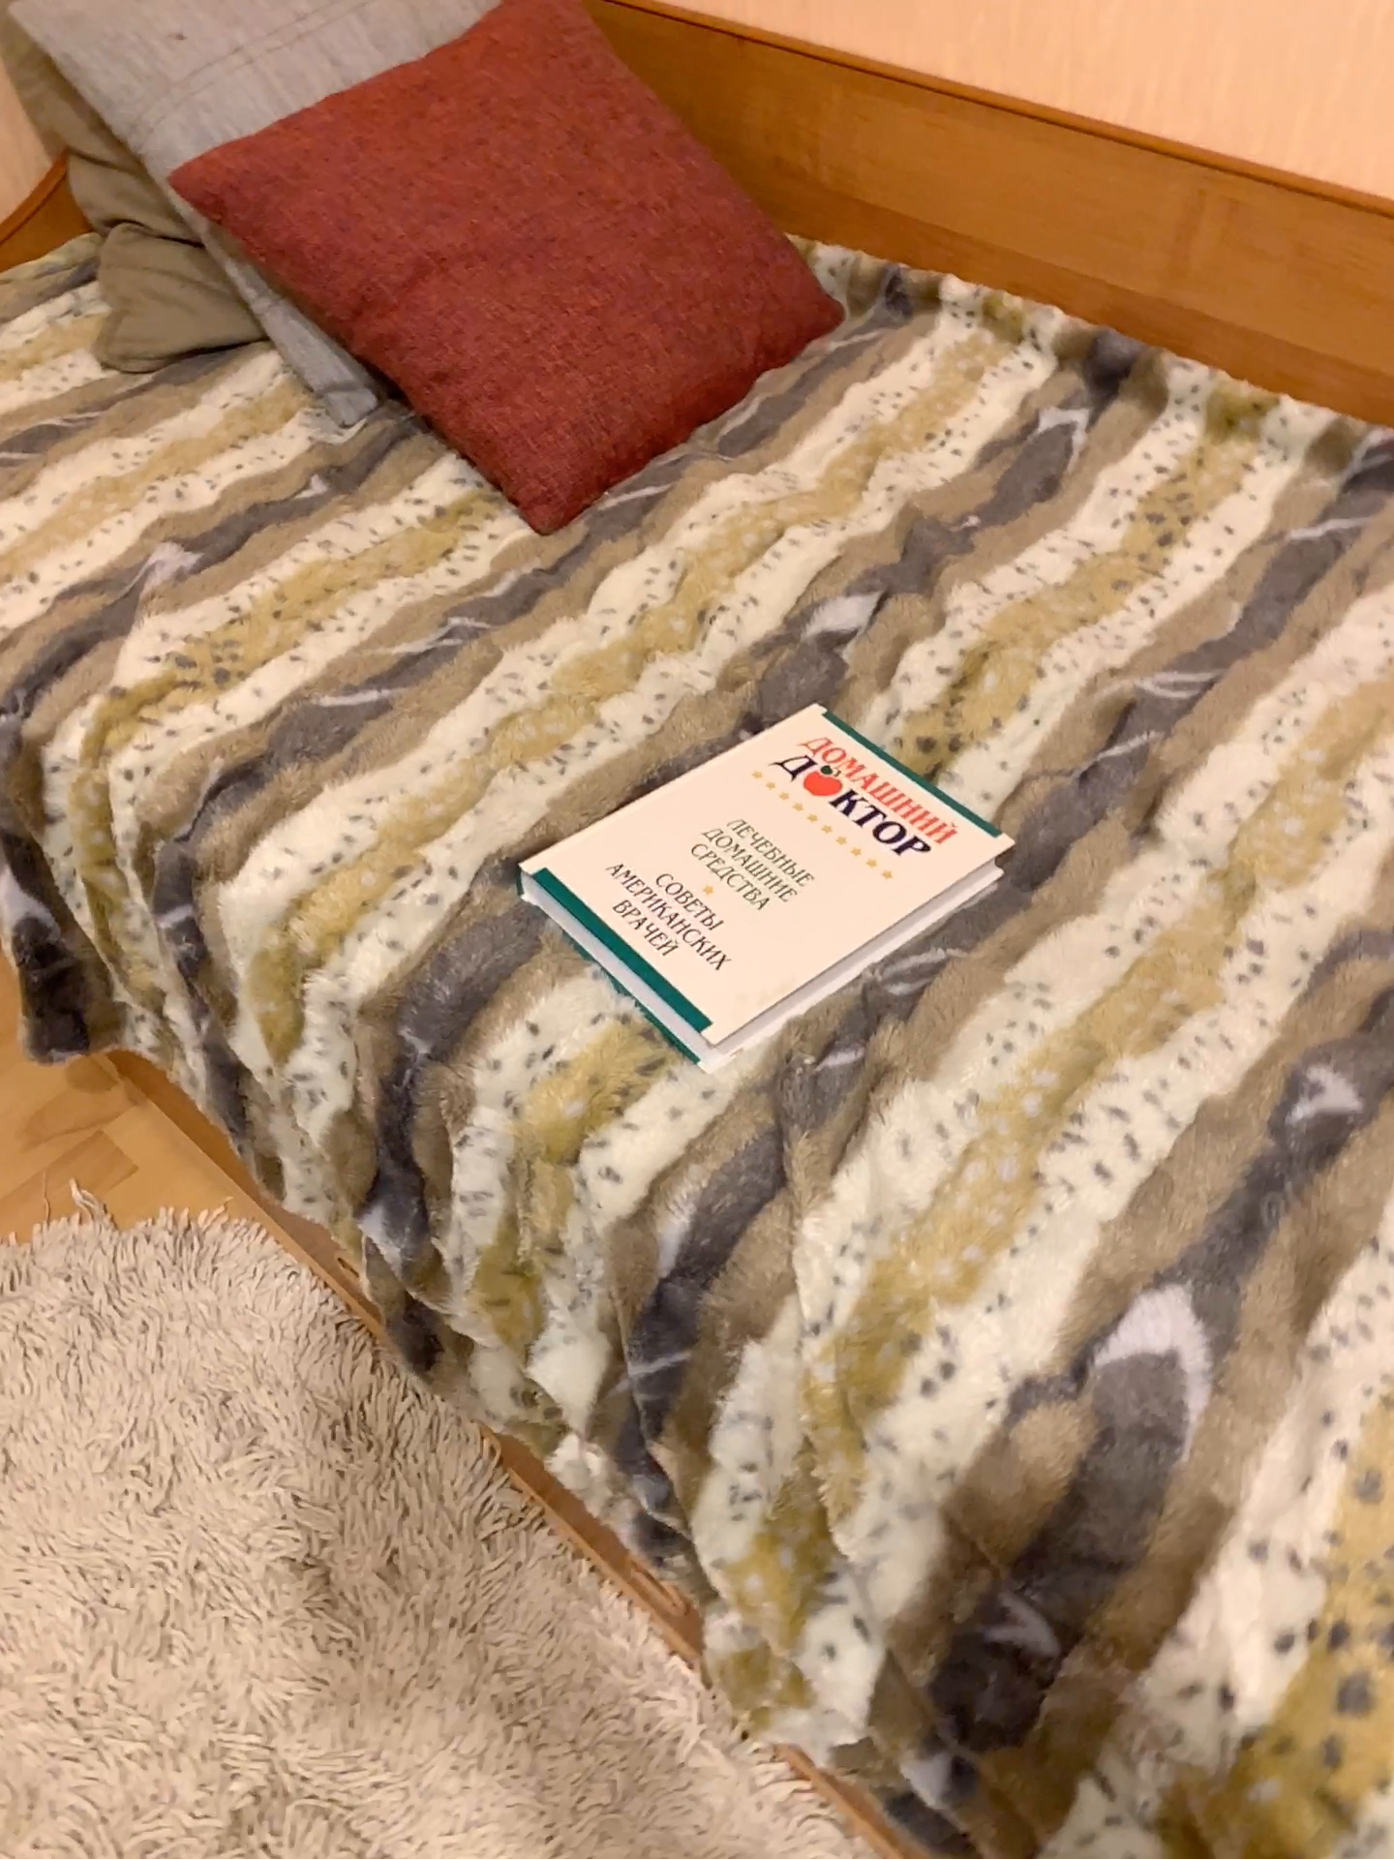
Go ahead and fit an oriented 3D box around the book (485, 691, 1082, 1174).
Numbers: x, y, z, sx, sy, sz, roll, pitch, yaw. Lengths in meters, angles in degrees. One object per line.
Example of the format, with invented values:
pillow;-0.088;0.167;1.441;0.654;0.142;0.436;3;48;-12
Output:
book;0.045;-0.013;0.741;0.241;0.040;0.191;-33;55;-25
